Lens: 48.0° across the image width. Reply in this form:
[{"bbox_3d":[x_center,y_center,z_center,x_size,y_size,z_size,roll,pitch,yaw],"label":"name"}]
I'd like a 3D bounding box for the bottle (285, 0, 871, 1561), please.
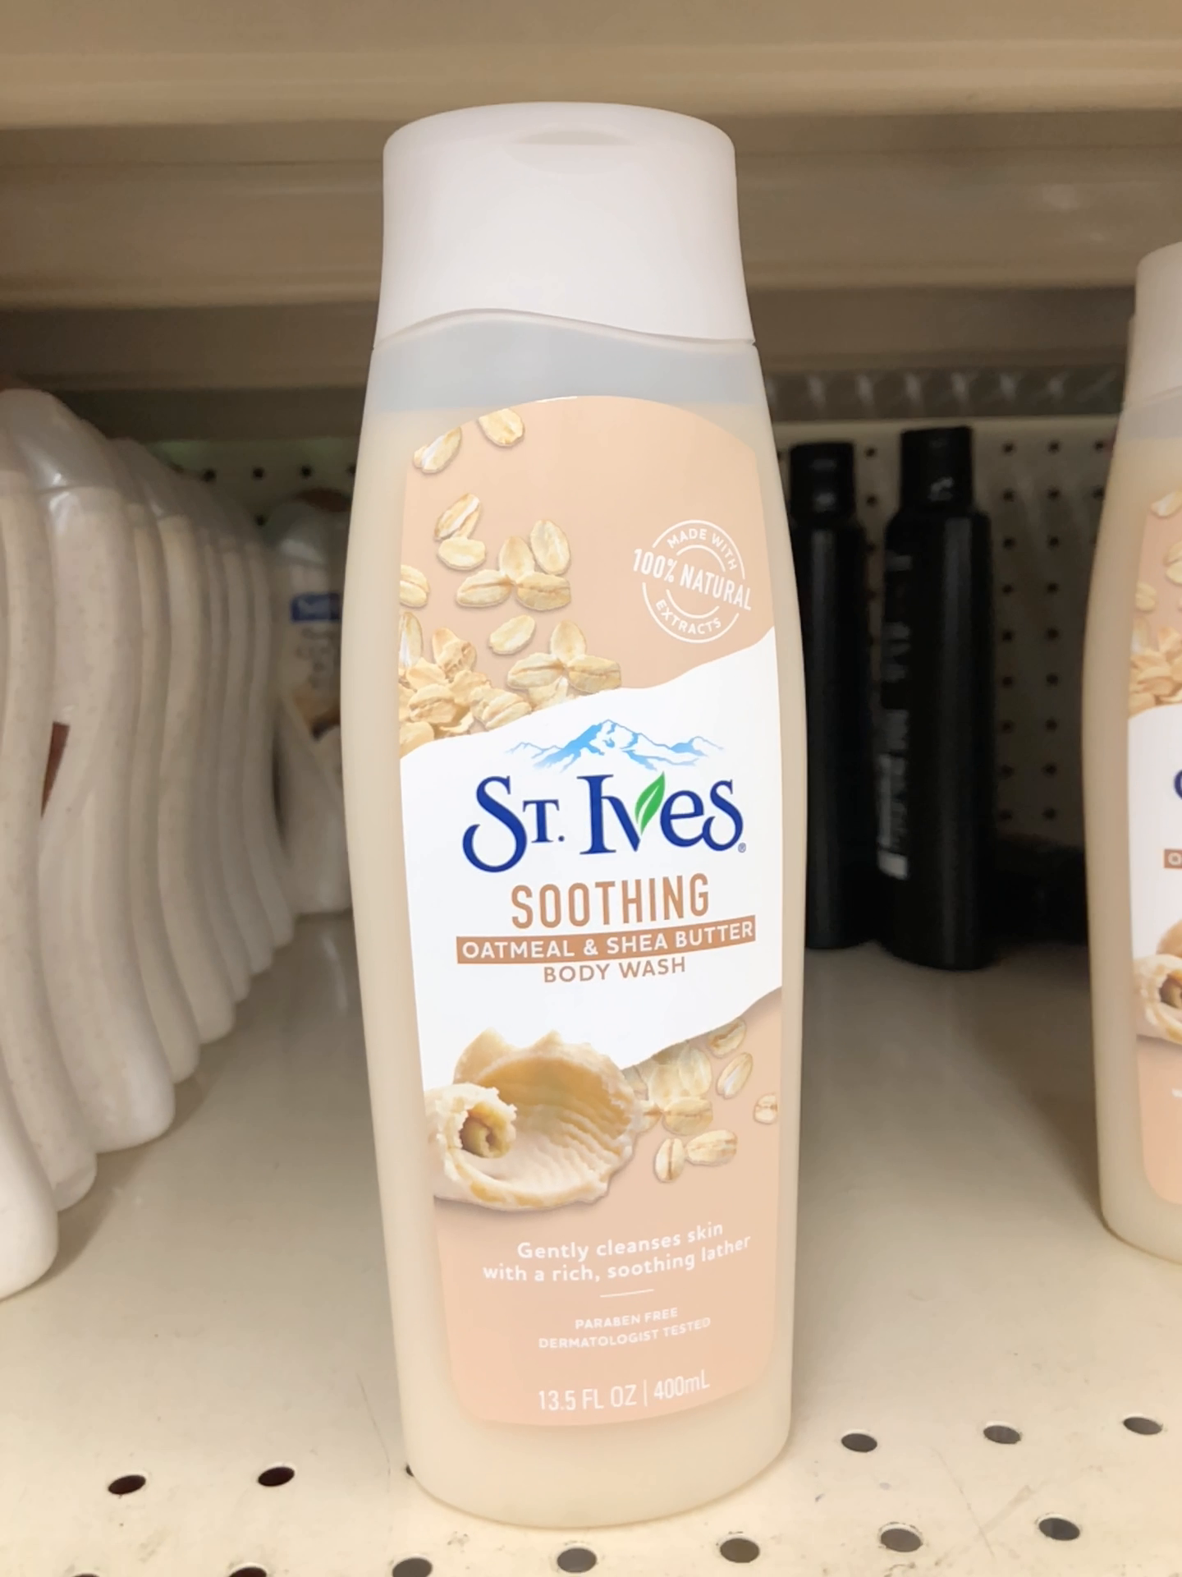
[{"bbox_3d":[-0.001,0.002,0.221,0.080,0.230,0.050,-3,9,-8],"label":"bottle"}]
